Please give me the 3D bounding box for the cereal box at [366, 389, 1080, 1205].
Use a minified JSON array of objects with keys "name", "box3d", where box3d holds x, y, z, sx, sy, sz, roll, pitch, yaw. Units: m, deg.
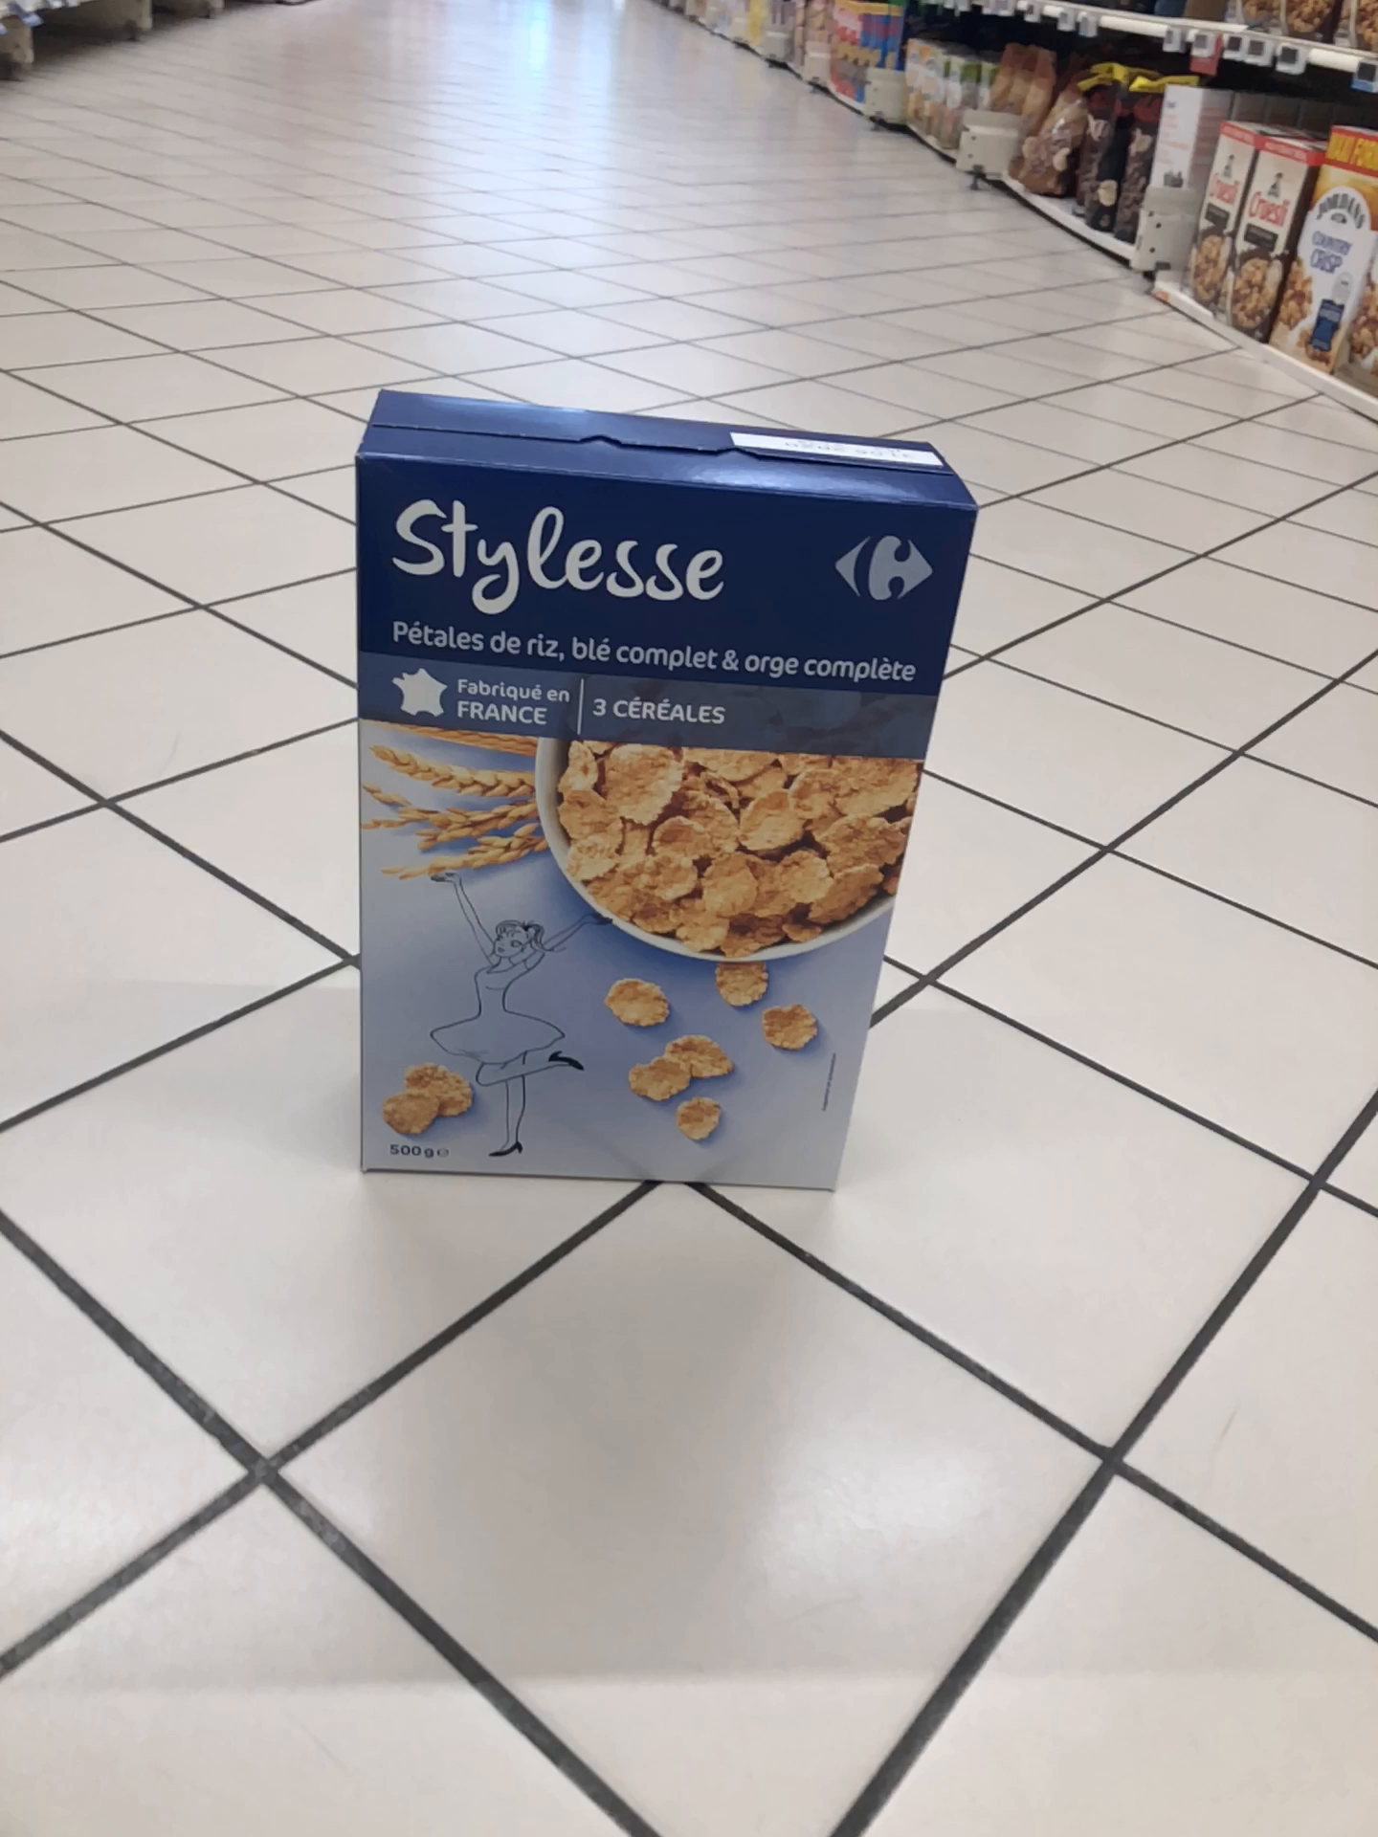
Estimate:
[{"name":"cereal box","box3d":[-0.006,-0.029,0.546,0.210,0.278,0.080,3,33,-8]}]
